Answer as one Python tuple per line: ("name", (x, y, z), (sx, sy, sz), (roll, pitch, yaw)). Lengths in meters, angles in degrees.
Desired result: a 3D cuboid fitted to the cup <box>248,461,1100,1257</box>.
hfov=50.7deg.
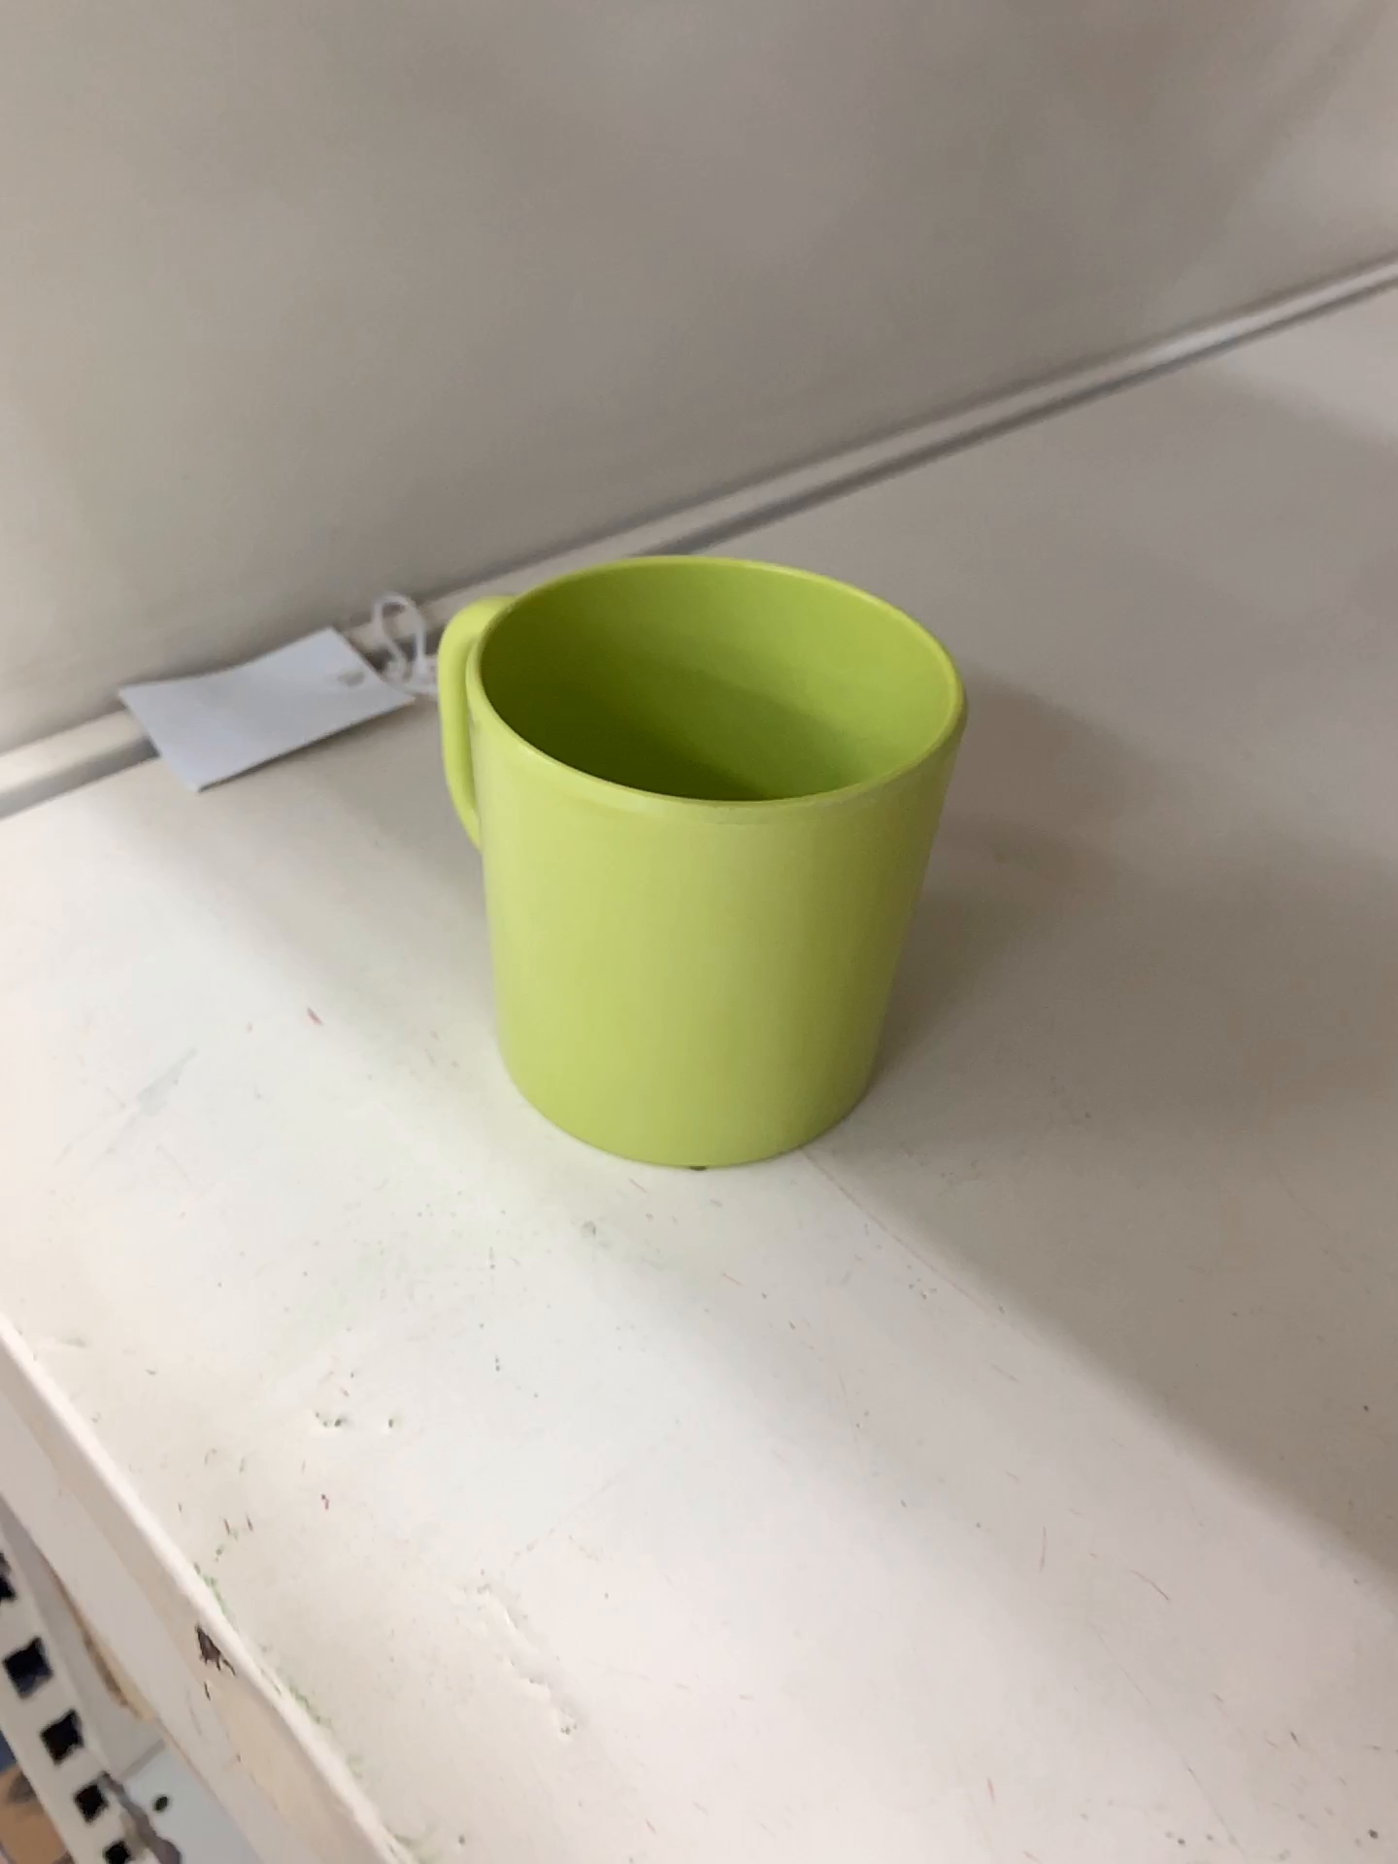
("cup", (-0.004, -0.018, 0.223), (0.090, 0.063, 0.078), (27, 44, 26))
